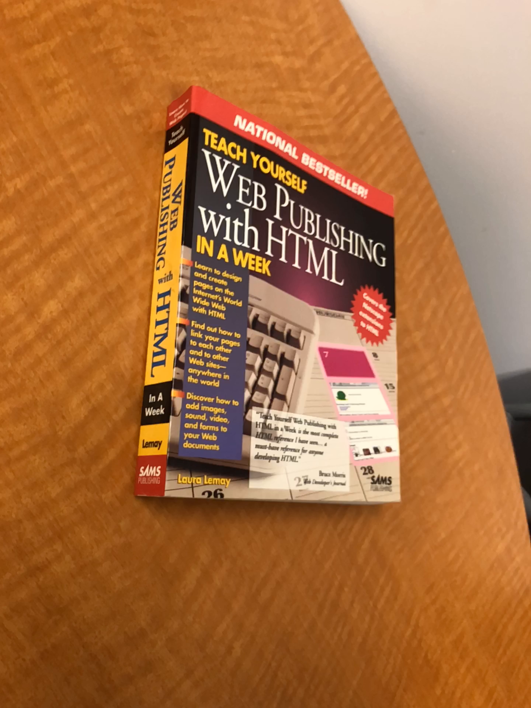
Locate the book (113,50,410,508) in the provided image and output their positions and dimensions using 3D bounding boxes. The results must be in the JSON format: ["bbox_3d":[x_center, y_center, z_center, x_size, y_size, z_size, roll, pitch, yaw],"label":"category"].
[{"bbox_3d":[0.016,-0.029,0.389,0.211,0.040,0.250,14,71,-41],"label":"book"}]
